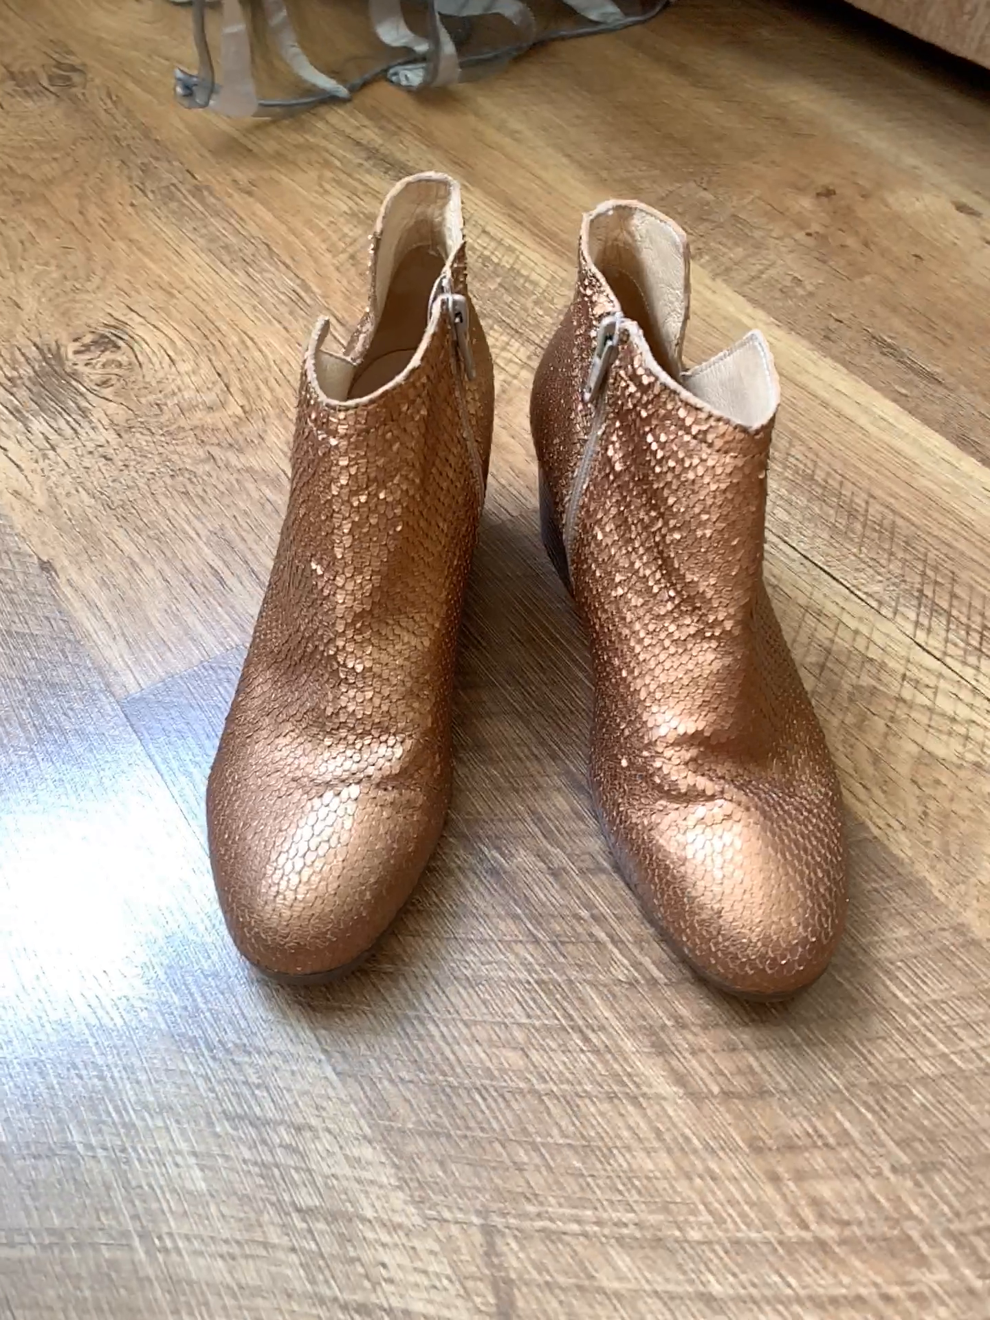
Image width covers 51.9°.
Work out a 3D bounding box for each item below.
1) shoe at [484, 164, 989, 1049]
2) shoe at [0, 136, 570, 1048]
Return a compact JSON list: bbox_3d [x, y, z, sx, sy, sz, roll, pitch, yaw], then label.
[{"bbox_3d":[0.062,-0.025,0.299,0.080,0.130,0.221,-9,53,-10],"label":"shoe"},{"bbox_3d":[-0.038,-0.029,0.290,0.080,0.130,0.221,9,52,4],"label":"shoe"}]
